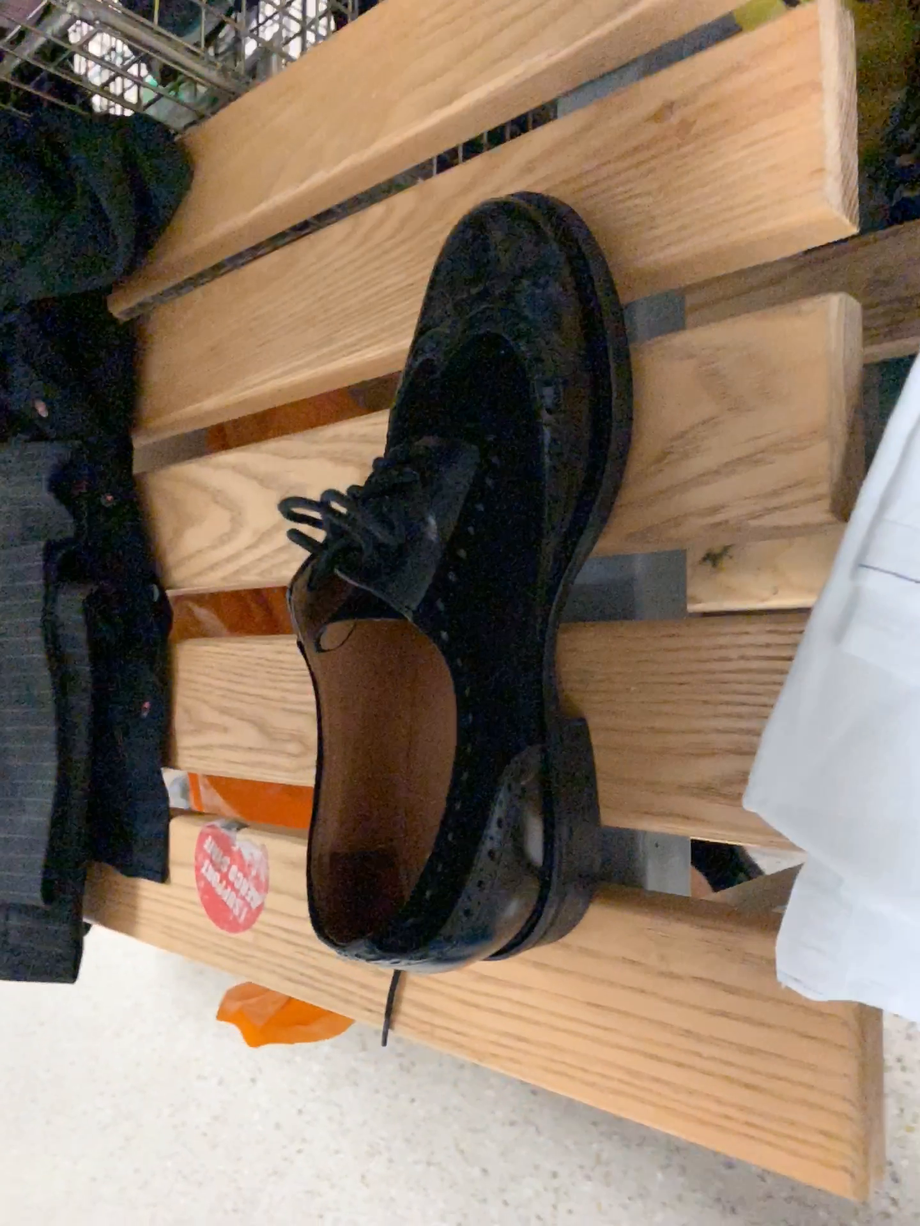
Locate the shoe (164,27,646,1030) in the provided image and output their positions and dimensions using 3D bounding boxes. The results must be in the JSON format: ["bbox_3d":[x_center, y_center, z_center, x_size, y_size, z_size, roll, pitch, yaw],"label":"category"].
[{"bbox_3d":[-0.017,-0.022,0.303,0.100,0.095,0.250,2,88,43],"label":"shoe"}]
